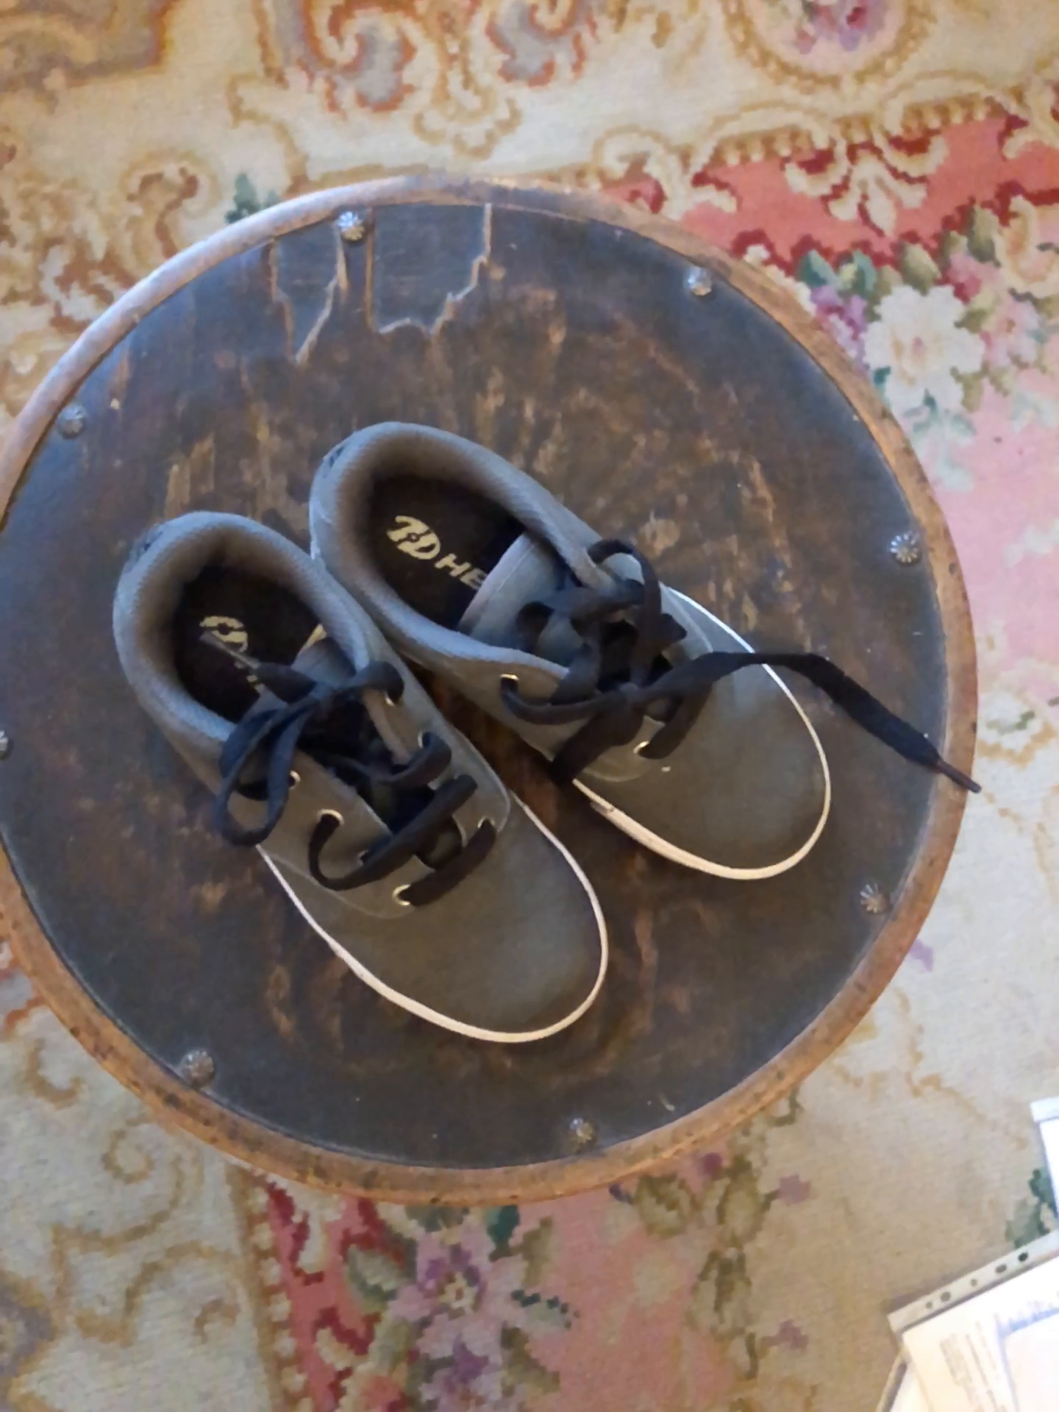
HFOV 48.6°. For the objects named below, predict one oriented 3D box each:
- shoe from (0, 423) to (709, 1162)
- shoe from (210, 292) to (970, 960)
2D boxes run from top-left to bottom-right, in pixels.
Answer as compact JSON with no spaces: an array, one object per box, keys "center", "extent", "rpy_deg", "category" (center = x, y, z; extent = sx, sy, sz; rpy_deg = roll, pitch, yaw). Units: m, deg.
[{"center":[-0.058,0.028,0.389],"extent":[0.090,0.100,0.211],"rpy_deg":[-45,89,-7],"category":"shoe"},{"center":[0.016,-0.020,0.393],"extent":[0.211,0.100,0.090],"rpy_deg":[36,83,0],"category":"shoe"}]
